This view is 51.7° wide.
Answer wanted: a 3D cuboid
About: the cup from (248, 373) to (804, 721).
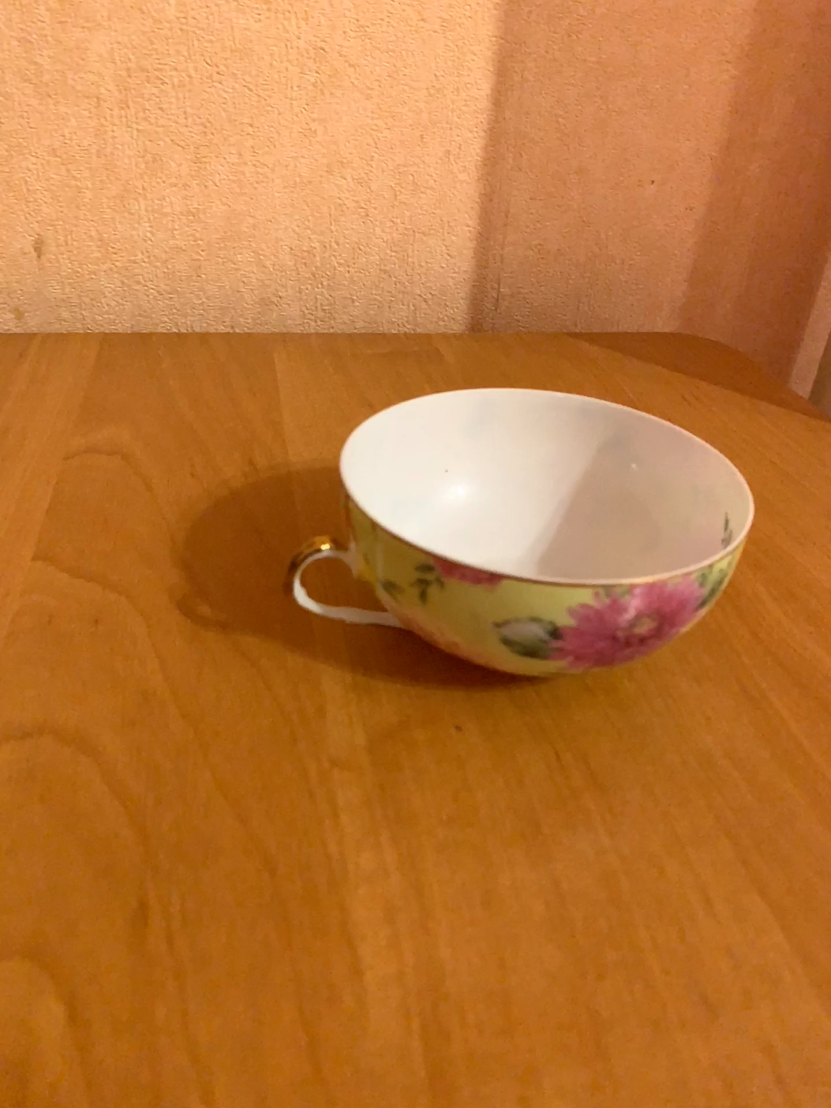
[{"bbox_3d":[0.018,-0.008,0.214,0.113,0.045,0.079,-3,33,-11],"label":"cup"}]
